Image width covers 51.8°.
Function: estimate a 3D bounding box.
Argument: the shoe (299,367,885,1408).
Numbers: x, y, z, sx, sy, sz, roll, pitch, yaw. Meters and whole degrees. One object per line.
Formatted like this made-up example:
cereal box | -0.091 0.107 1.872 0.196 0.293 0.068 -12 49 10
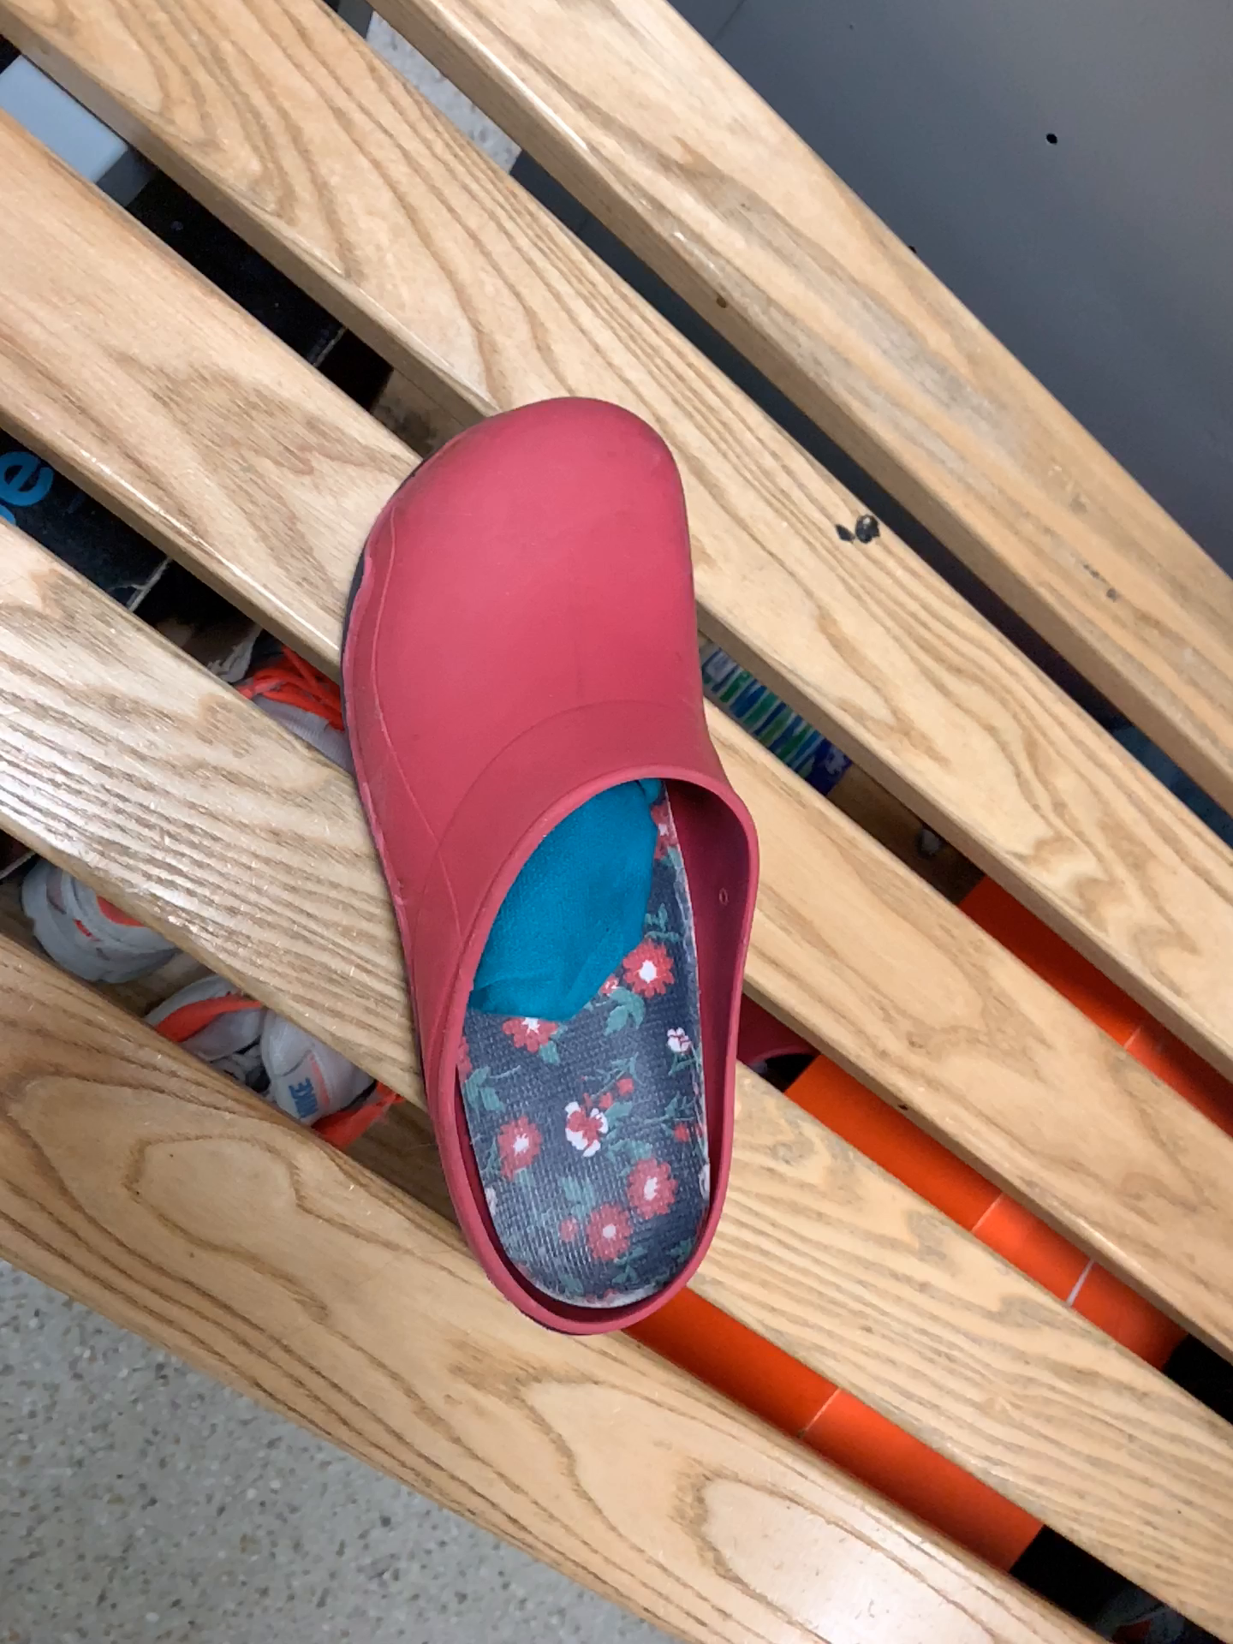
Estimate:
shoe | -0.010 0.010 0.343 0.106 0.077 0.238 -8 89 -22
